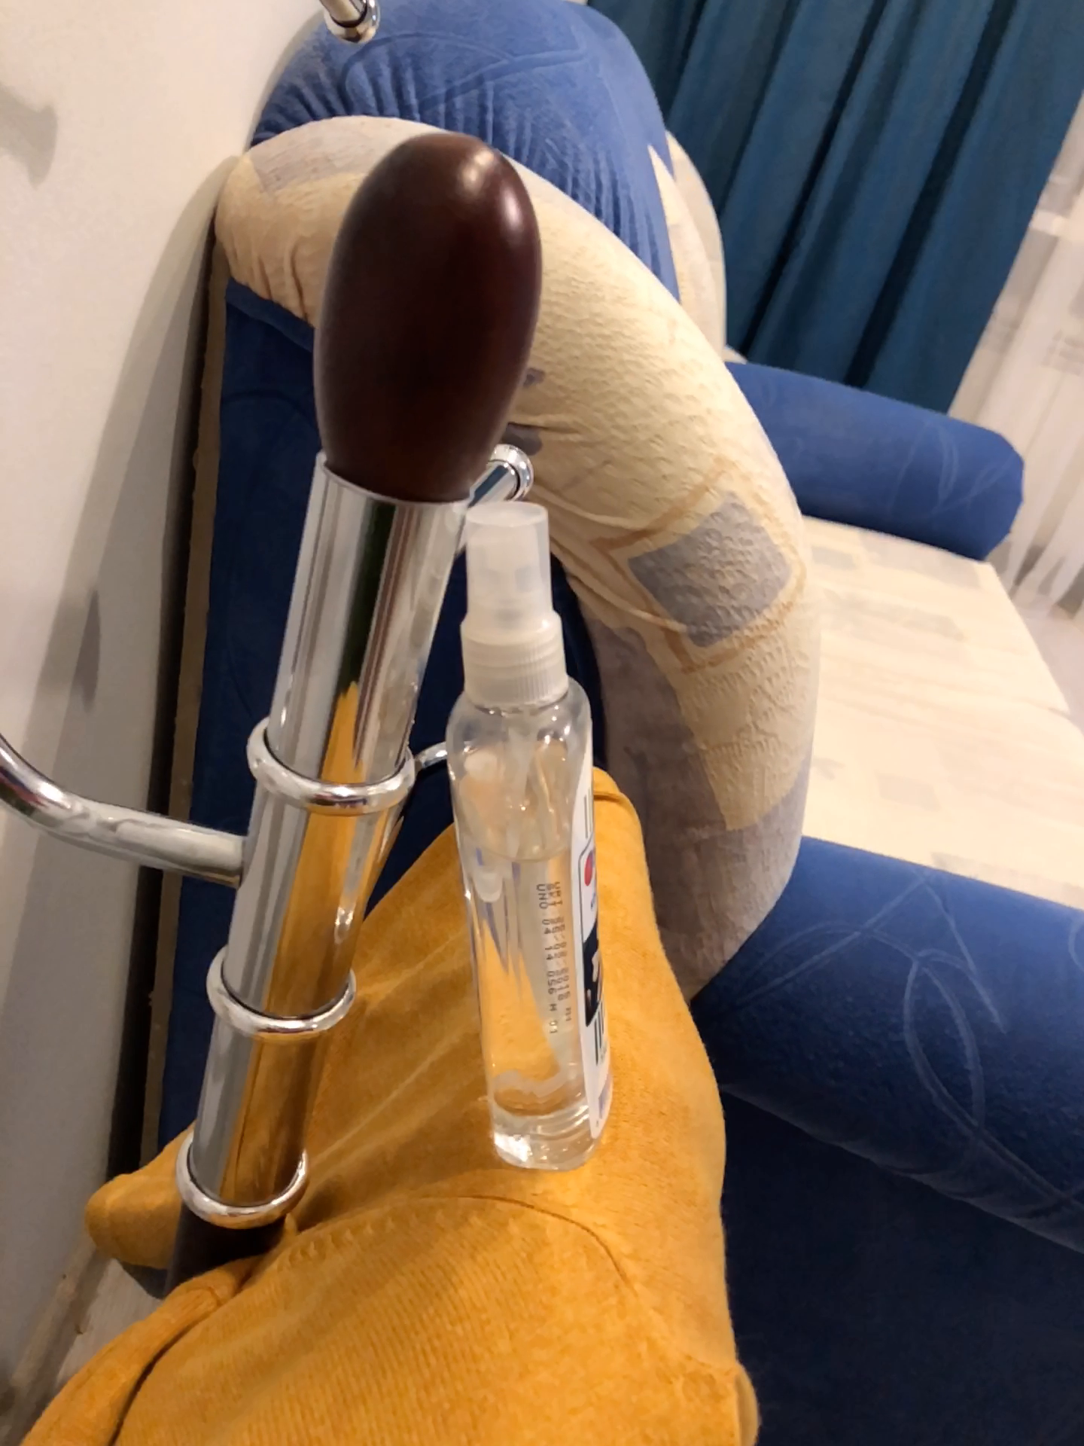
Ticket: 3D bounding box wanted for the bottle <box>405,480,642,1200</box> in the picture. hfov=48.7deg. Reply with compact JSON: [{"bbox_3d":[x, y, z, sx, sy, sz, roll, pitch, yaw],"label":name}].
[{"bbox_3d":[0.001,0.030,0.272,0.030,0.157,0.051,1,27,12],"label":"bottle"}]
